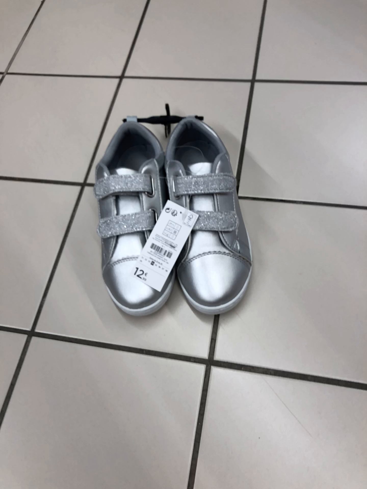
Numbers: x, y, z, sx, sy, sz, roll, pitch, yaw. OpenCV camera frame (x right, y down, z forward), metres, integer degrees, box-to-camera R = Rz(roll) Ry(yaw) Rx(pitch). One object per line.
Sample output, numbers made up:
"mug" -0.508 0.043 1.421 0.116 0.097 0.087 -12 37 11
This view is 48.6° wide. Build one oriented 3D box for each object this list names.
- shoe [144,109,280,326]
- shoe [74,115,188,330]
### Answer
"shoe" 0.025 -0.034 0.453 0.090 0.086 0.215 -14 62 1
"shoe" -0.061 -0.028 0.458 0.090 0.086 0.215 -11 62 2
